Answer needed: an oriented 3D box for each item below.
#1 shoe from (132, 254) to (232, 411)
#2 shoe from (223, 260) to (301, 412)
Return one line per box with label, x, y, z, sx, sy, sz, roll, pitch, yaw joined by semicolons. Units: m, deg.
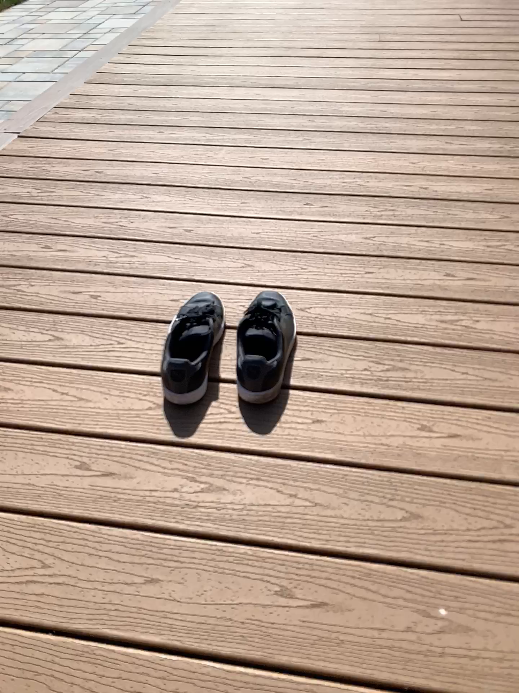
shoe;-0.126;-0.036;0.951;0.112;0.107;0.301;2;43;5
shoe;0.013;-0.029;0.929;0.110;0.104;0.281;2;43;5
